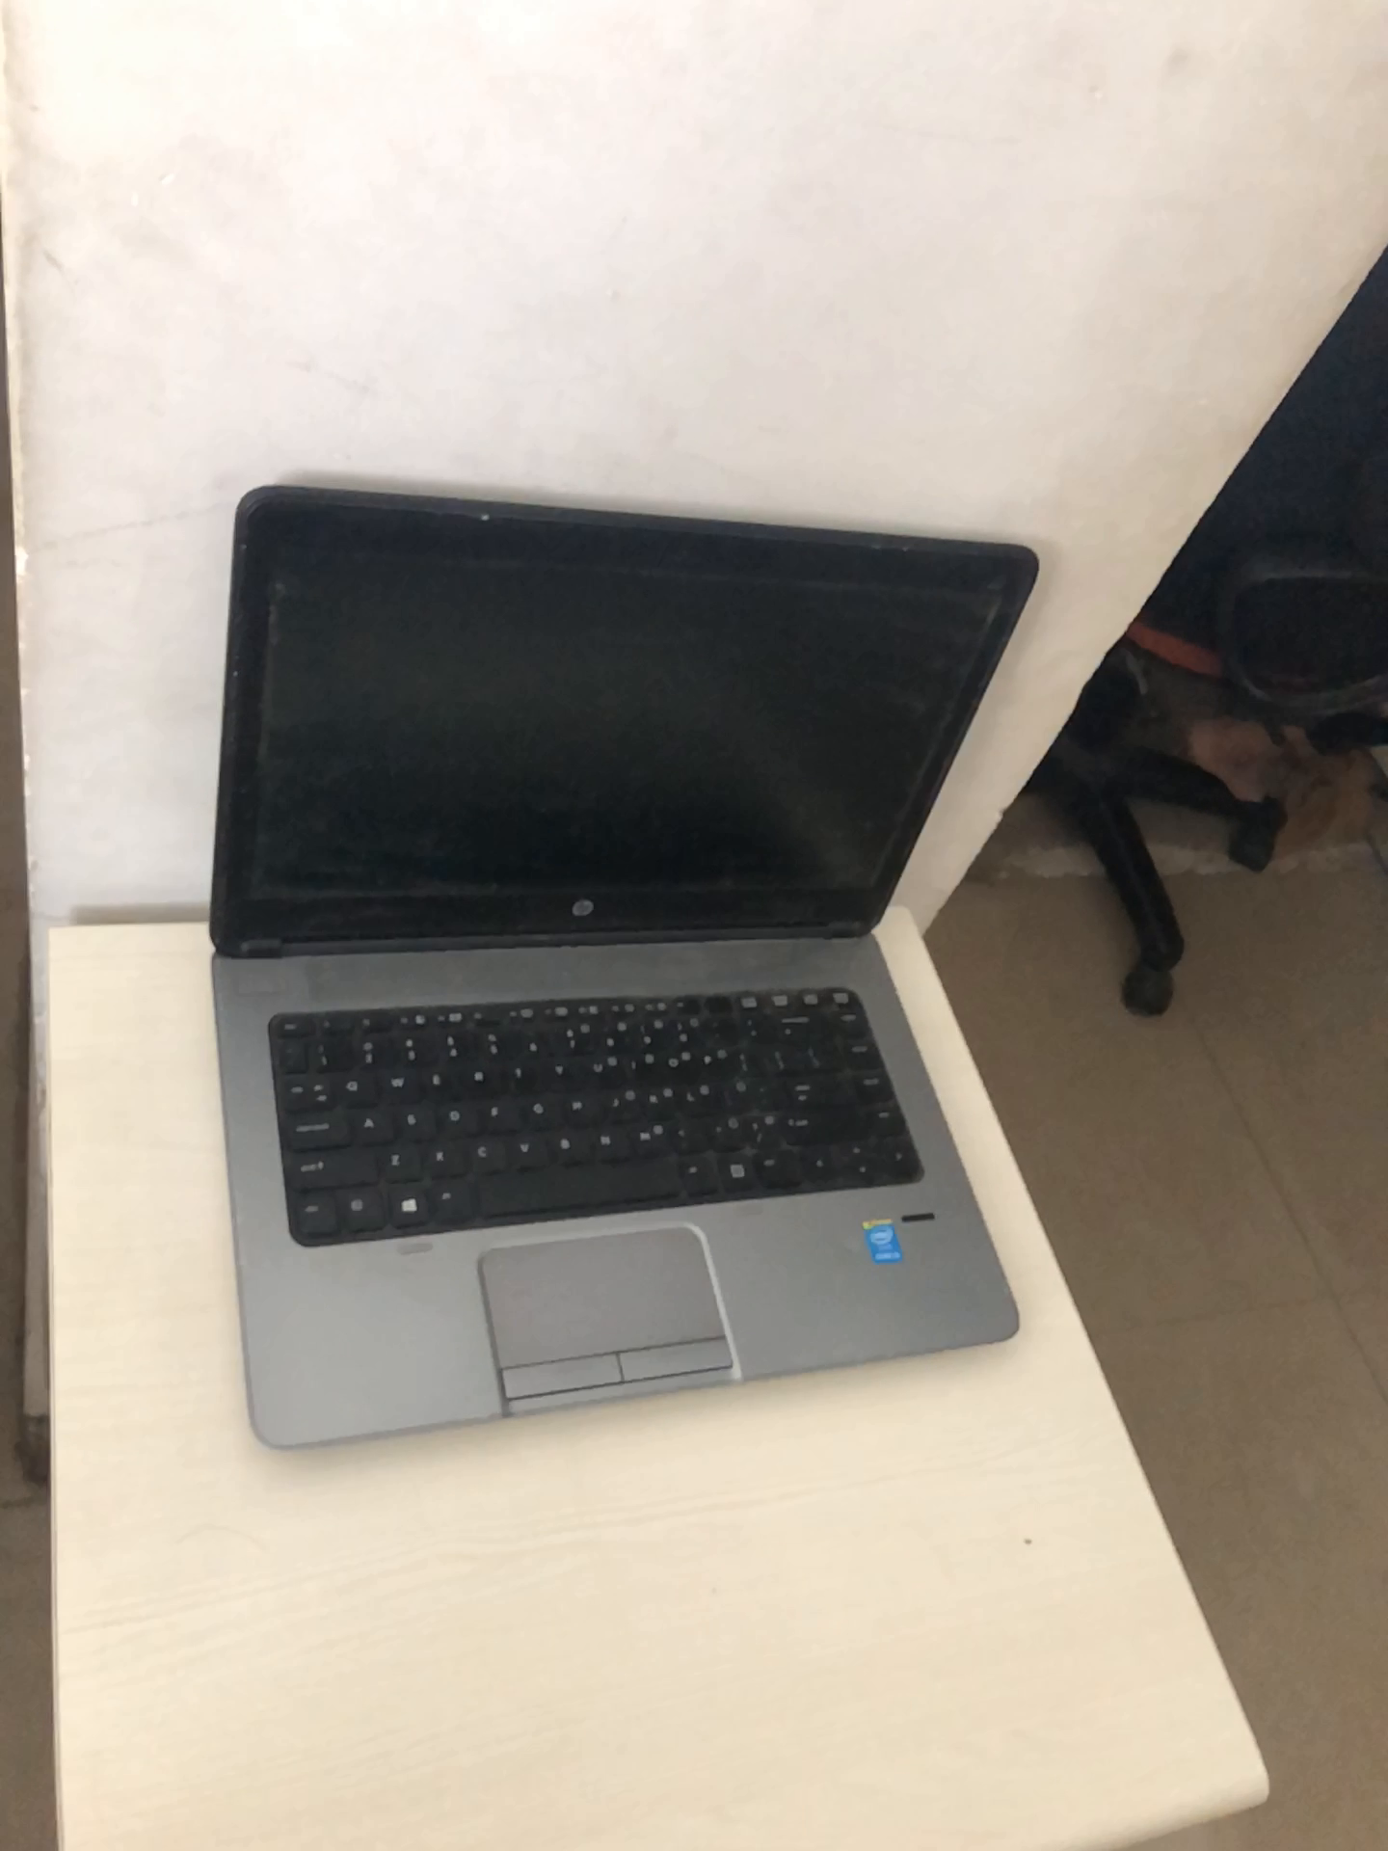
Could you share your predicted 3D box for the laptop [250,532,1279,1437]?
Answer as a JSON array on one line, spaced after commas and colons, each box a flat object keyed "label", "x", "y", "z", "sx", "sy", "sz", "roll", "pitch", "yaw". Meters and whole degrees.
[{"label": "laptop", "x": -0.001, "y": 0.020, "z": 0.595, "sx": 0.304, "sy": 0.209, "sz": 0.238, "roll": -1, "pitch": 53, "yaw": -23}]
